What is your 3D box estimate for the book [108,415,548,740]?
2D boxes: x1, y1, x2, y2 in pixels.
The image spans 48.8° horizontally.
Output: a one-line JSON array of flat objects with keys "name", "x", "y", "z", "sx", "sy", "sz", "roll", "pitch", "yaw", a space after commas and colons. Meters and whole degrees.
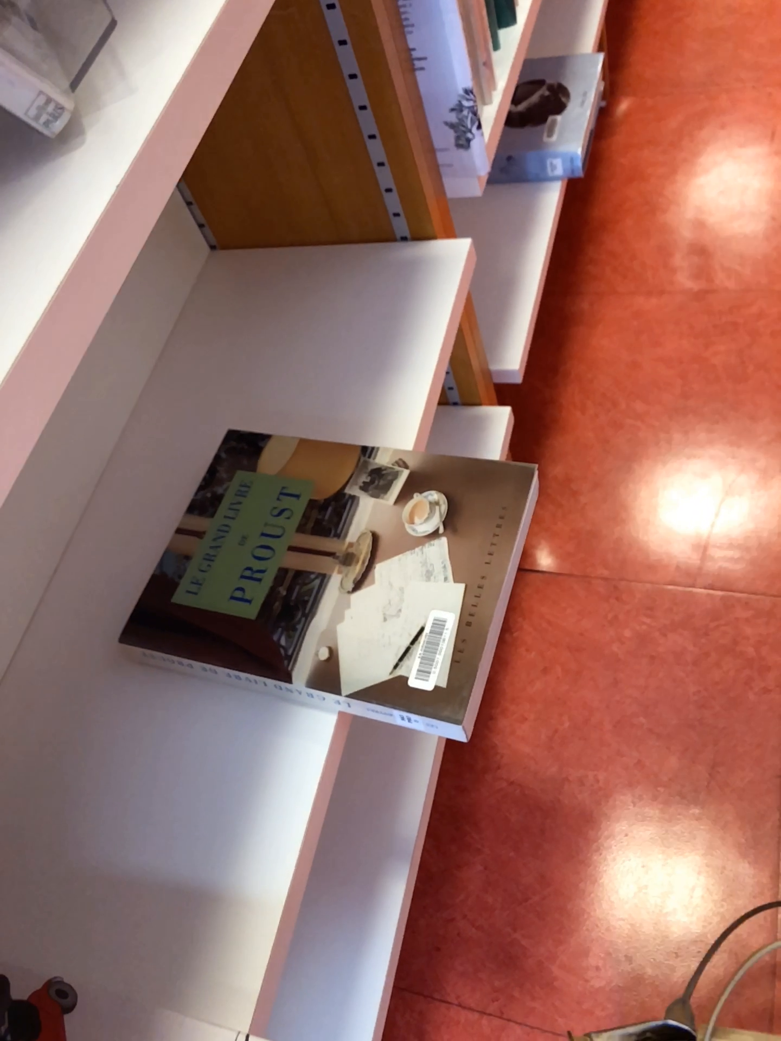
[{"name": "book", "x": -0.039, "y": 0.024, "z": 0.568, "sx": 0.245, "sy": 0.030, "sz": 0.181, "roll": 9, "pitch": 61, "yaw": 21}]
